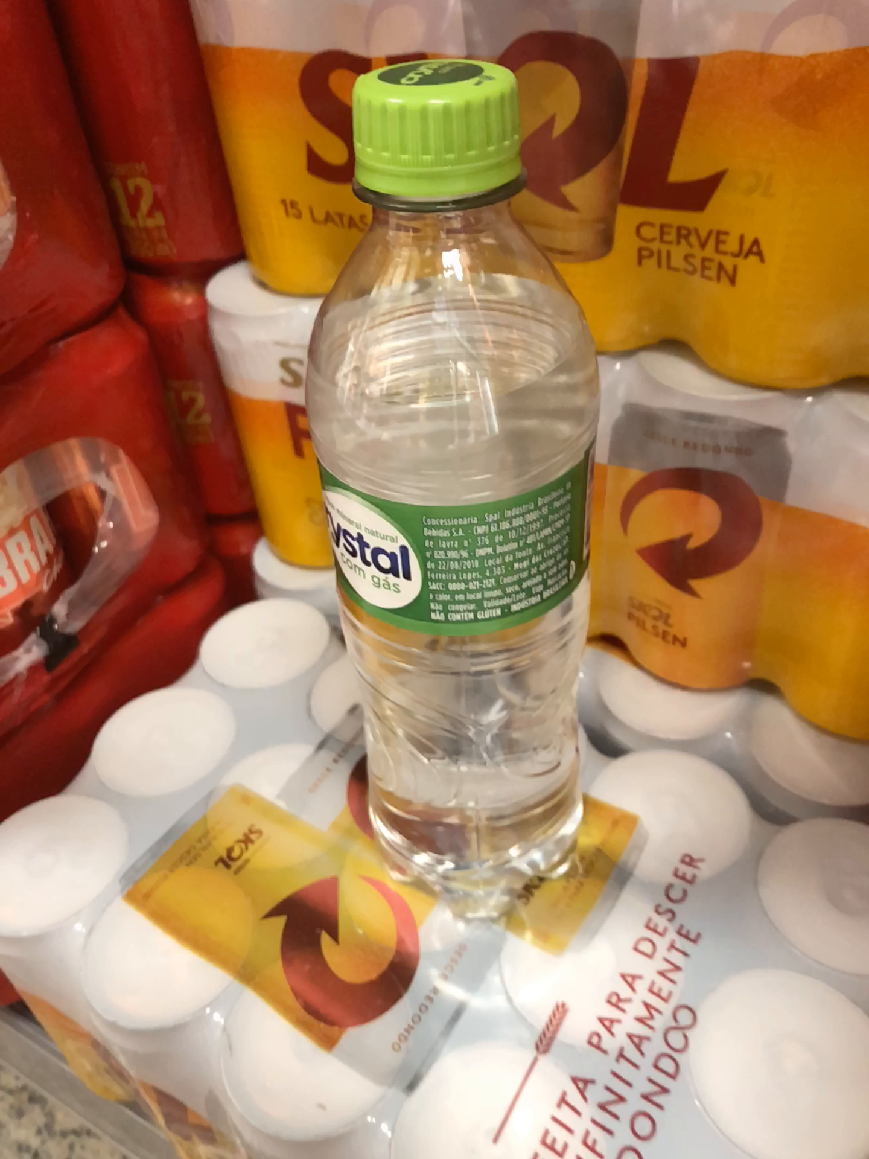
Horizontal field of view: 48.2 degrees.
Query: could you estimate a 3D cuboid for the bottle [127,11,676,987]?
[{"bbox_3d":[0.005,0.000,0.230,0.060,0.218,0.070,-32,46,-24],"label":"bottle"}]
